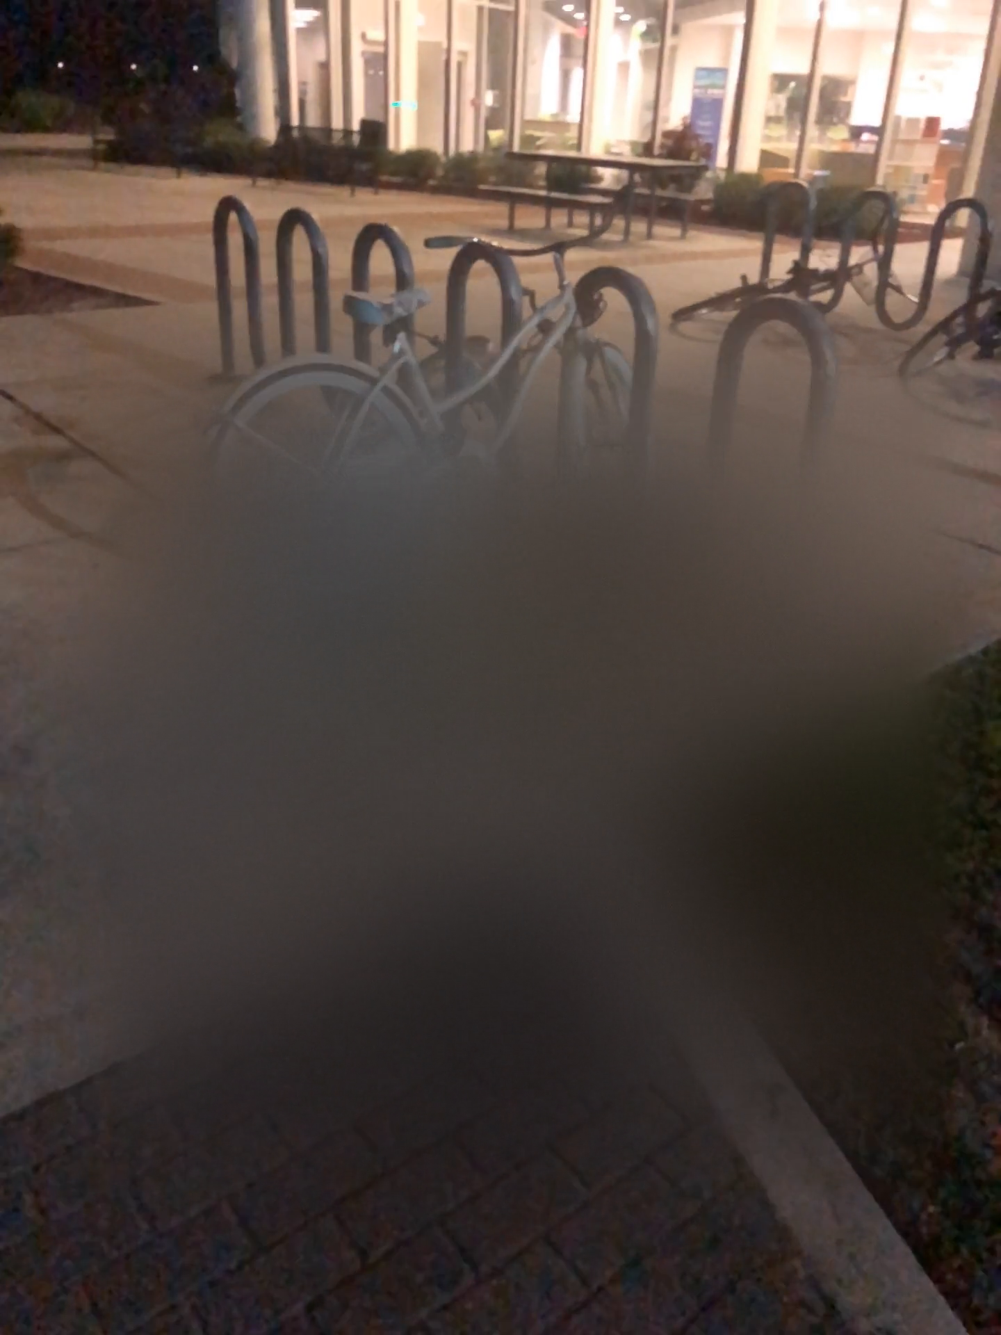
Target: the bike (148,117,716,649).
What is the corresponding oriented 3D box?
[{"bbox_3d":[-0.170,-1.004,3.390,1.683,1.094,0.742,-23,35,-34],"label":"bike"}]
